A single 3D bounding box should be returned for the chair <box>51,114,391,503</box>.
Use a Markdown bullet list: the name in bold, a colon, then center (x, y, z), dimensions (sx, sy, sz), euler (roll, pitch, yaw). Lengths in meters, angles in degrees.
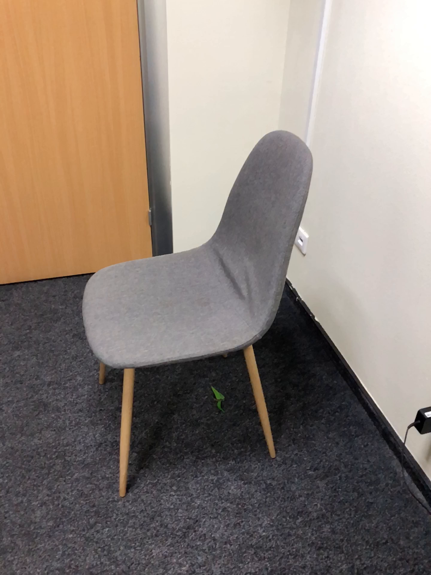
- **chair**: center (-0.036, 0.034, 1.214), dimensions (0.601, 0.785, 0.473), euler (-9, 36, -16)
